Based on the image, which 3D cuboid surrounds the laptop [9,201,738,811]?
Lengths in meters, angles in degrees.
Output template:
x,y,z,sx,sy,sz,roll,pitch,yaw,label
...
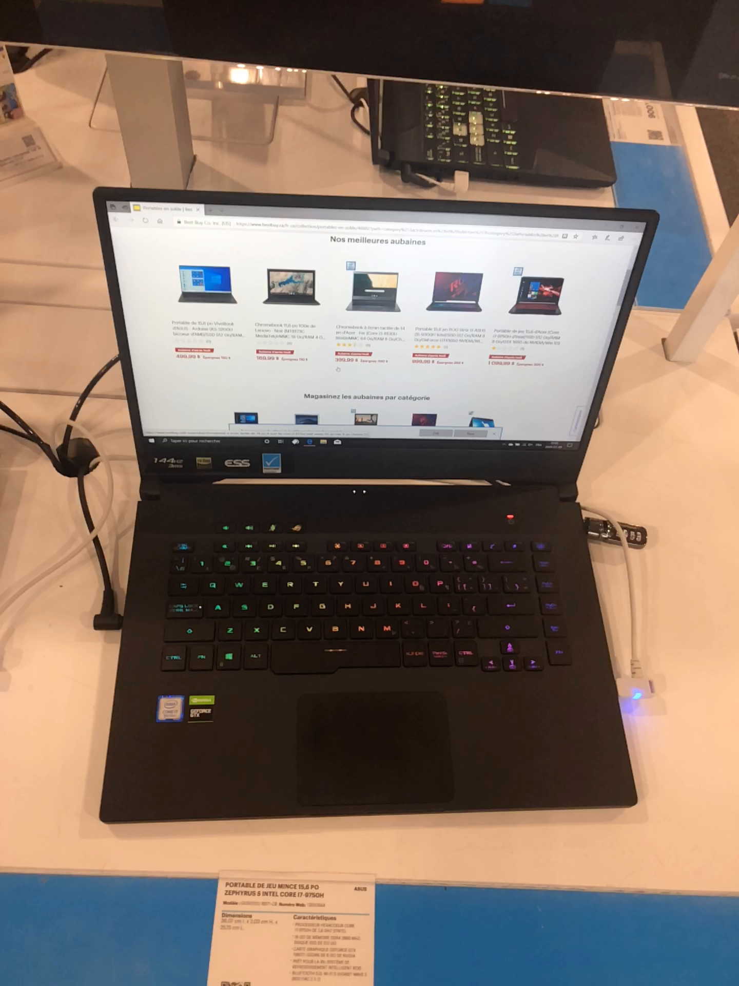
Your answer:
x,y,z,sx,sy,sz,roll,pitch,yaw,label
0.011,0.013,0.510,0.340,0.207,0.315,1,59,-4,laptop
